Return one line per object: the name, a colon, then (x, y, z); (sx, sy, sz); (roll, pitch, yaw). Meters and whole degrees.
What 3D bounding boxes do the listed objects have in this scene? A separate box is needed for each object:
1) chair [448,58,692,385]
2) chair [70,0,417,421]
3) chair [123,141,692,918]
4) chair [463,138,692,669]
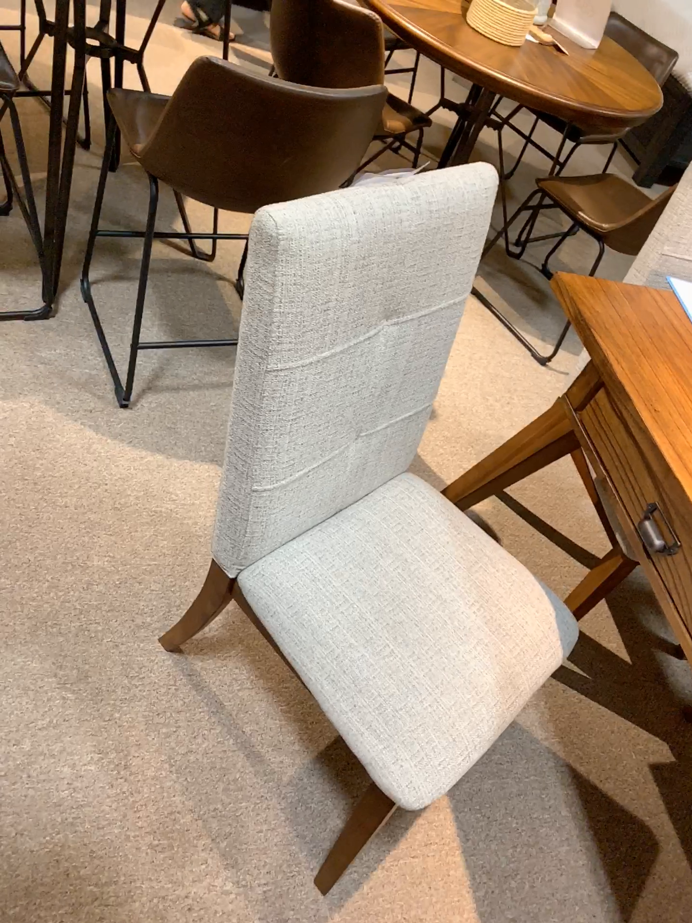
chair: (0.848, -0.772, 2.316); (0.526, 0.744, 0.598); (-18, 59, -34)
chair: (-0.314, -0.596, 1.651); (0.495, 0.794, 0.568); (-9, 56, -29)
chair: (0.083, 0.140, 1.066); (0.486, 0.913, 0.628); (-26, 64, -38)
chair: (0.754, -0.055, 1.515); (0.515, 0.913, 0.599); (3, 48, -20)
